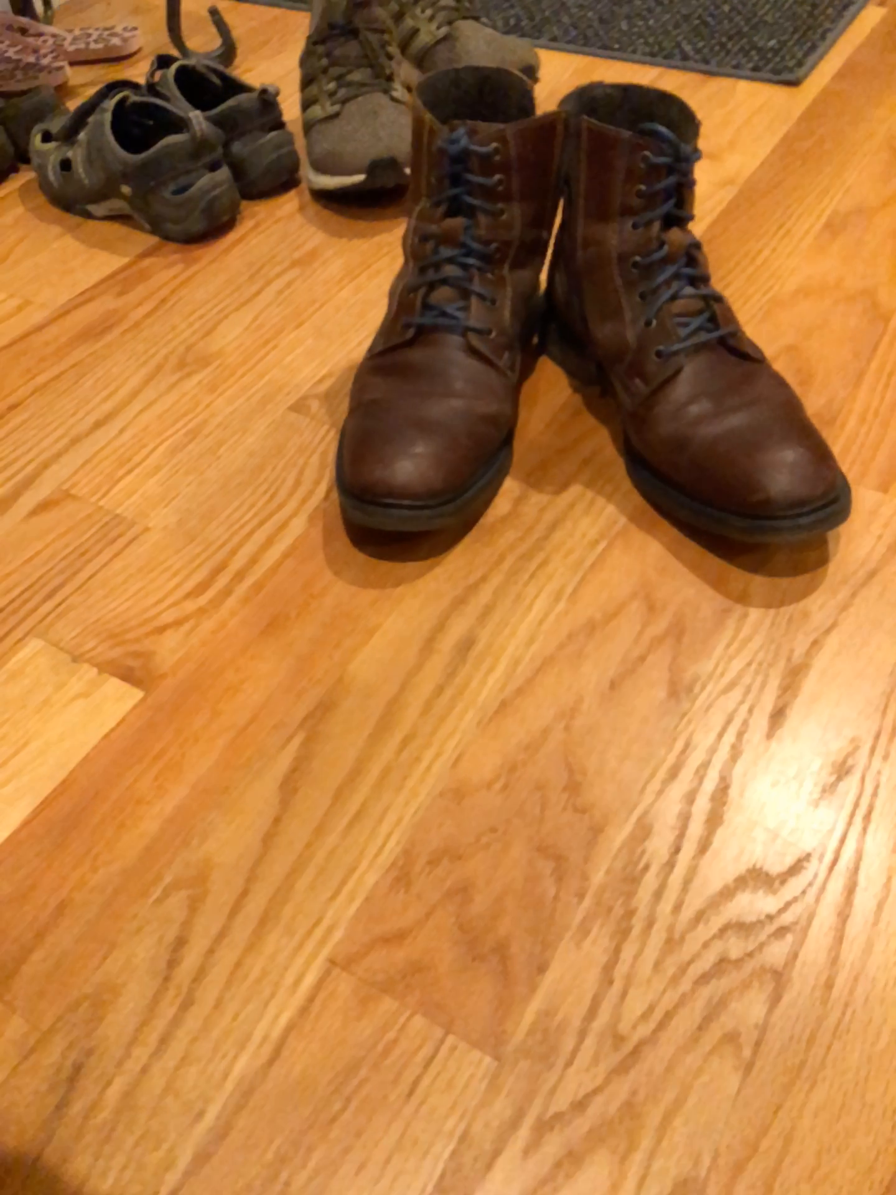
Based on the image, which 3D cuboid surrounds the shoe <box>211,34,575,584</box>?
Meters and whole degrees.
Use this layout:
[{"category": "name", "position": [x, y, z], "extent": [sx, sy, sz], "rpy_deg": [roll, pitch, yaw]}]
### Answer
[{"category": "shoe", "position": [-0.007, -0.184, 0.585], "extent": [0.113, 0.167, 0.311], "rpy_deg": [8, 49, 12]}]

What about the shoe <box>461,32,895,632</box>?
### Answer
[{"category": "shoe", "position": [0.132, -0.163, 0.557], "extent": [0.128, 0.176, 0.305], "rpy_deg": [-20, 49, -13]}]
